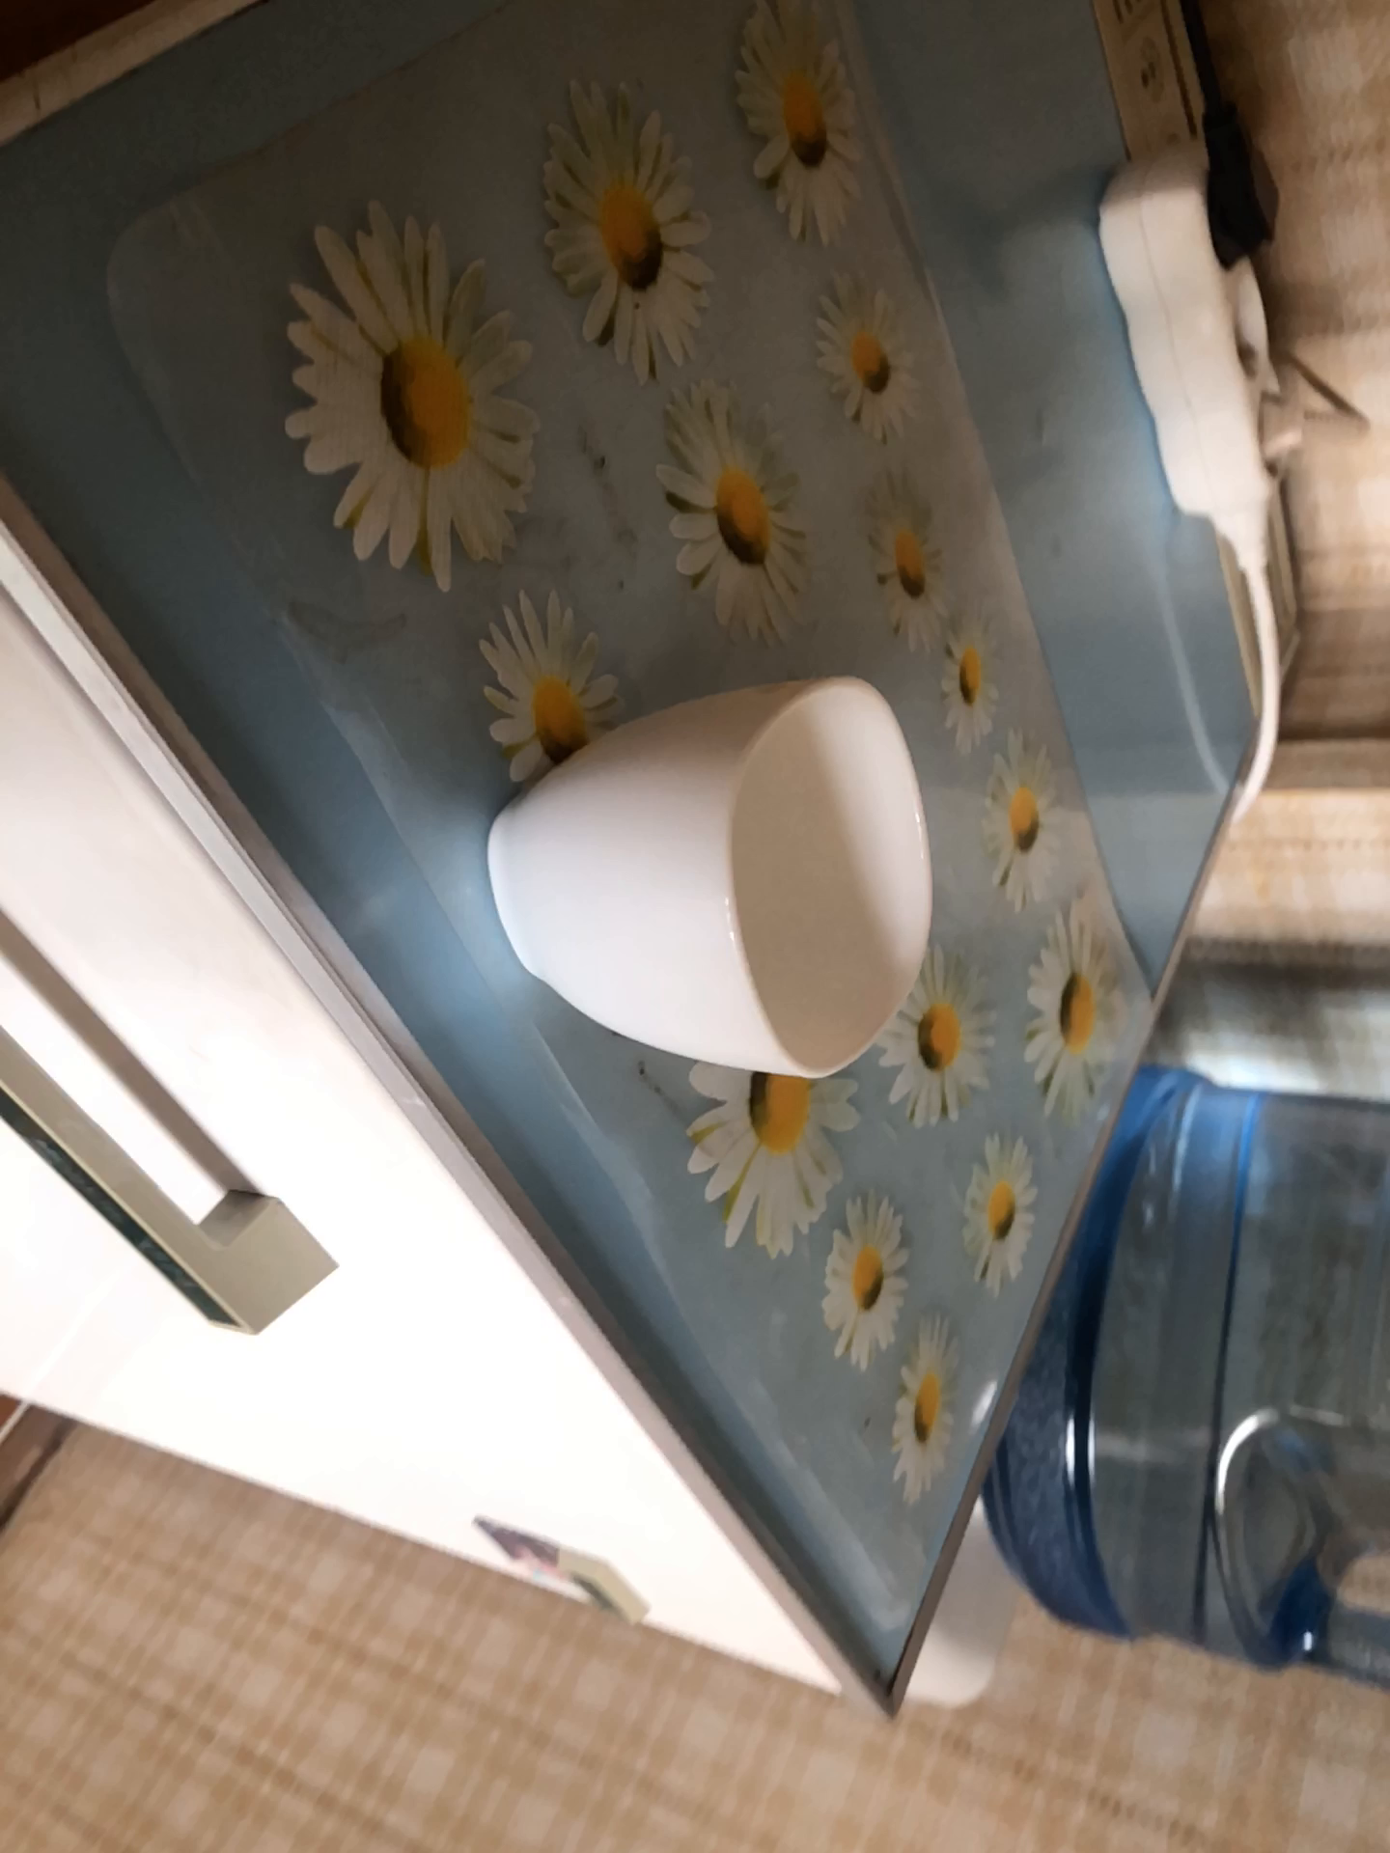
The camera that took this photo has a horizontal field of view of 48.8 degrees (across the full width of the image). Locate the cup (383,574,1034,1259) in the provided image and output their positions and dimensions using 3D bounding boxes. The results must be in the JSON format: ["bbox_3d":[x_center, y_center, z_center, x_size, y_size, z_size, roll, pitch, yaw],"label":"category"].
[{"bbox_3d":[0.010,-0.003,0.317,0.085,0.070,0.103,58,48,-37],"label":"cup"}]
